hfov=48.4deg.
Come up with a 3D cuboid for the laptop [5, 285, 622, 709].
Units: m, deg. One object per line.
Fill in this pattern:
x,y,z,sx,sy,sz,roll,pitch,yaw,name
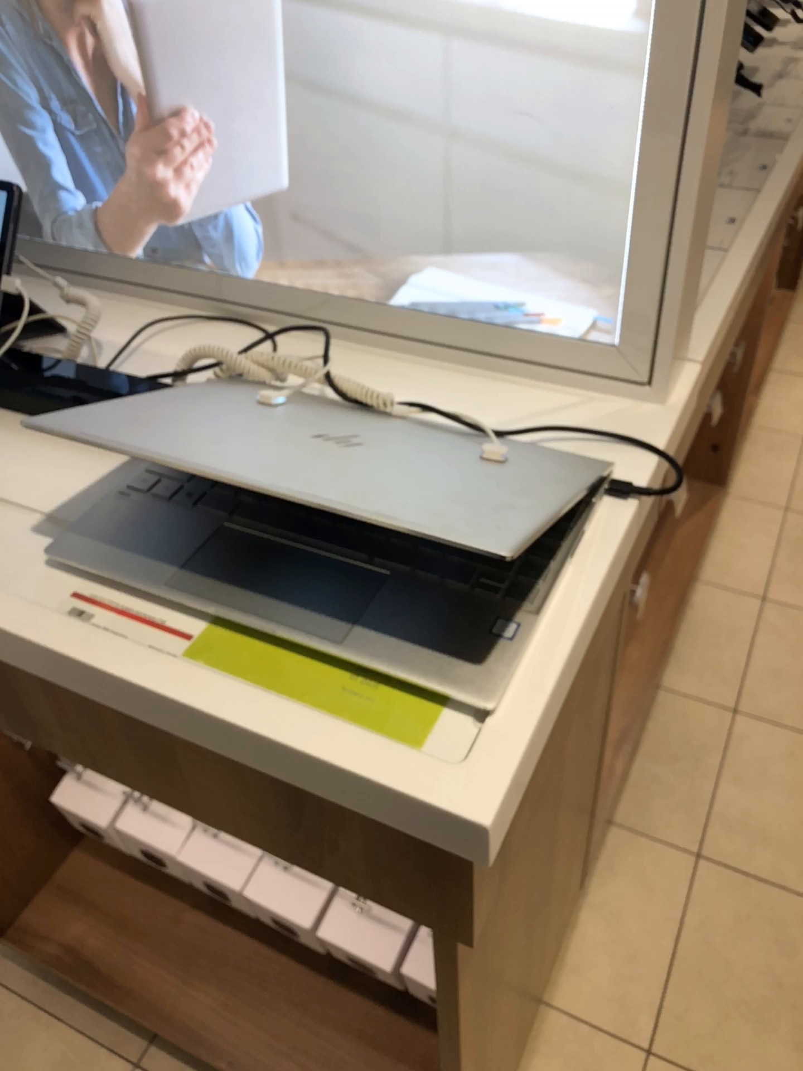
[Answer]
-0.044,-0.047,0.546,0.299,0.078,0.211,16,46,22,laptop
